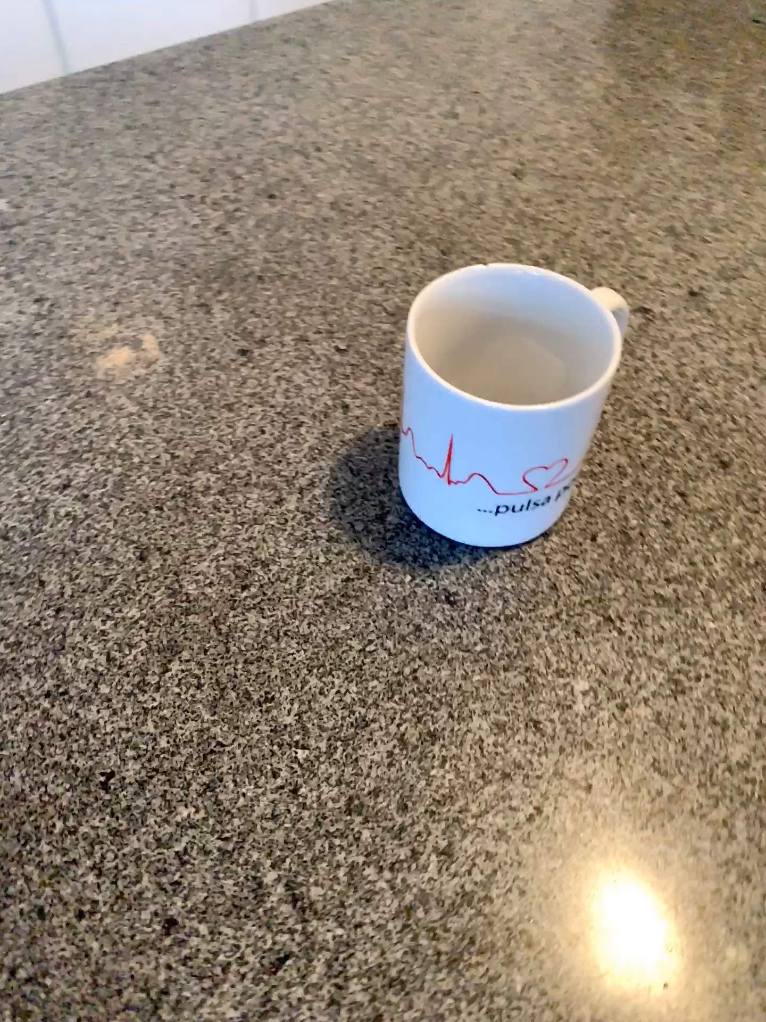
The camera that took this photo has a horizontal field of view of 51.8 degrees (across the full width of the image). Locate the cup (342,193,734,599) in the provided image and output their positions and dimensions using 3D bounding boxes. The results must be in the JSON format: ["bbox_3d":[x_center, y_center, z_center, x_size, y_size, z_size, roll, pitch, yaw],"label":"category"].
[{"bbox_3d":[0.058,-0.051,0.339,0.120,0.100,0.090,-32,60,-23],"label":"cup"}]

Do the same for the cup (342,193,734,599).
[{"bbox_3d":[0.058,-0.051,0.339,0.120,0.100,0.090,-32,60,-23],"label":"cup"}]
